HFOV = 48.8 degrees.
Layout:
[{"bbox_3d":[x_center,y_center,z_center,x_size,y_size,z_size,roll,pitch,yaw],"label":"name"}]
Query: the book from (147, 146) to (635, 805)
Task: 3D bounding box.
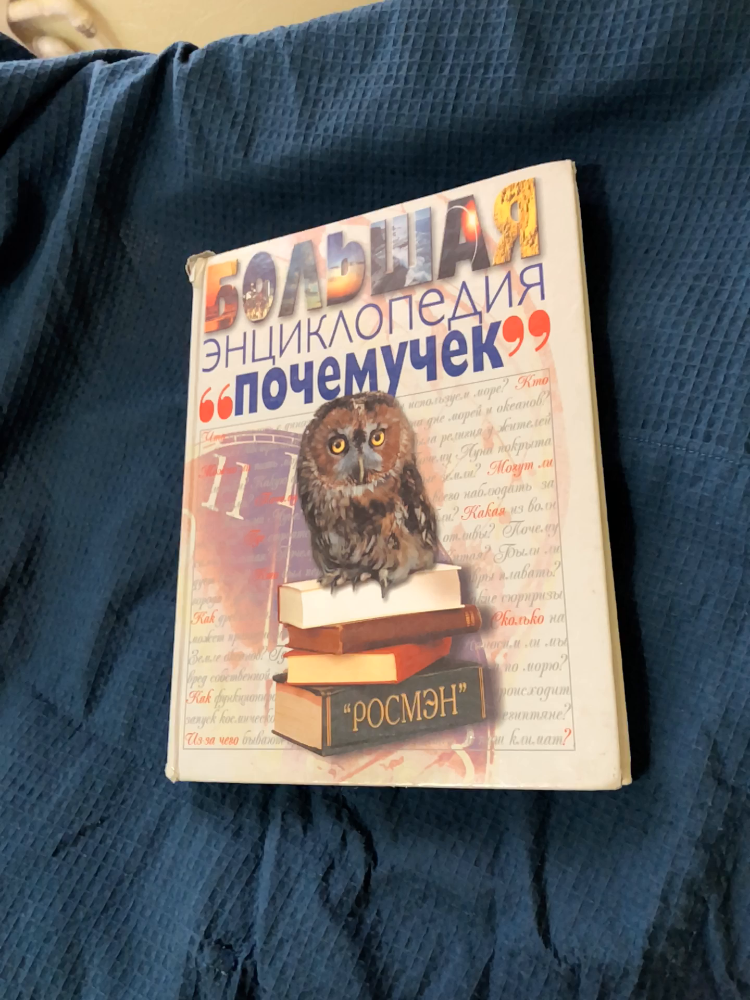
[{"bbox_3d":[-0.004,-0.010,0.426,0.235,0.030,0.305,-7,73,24],"label":"book"}]
